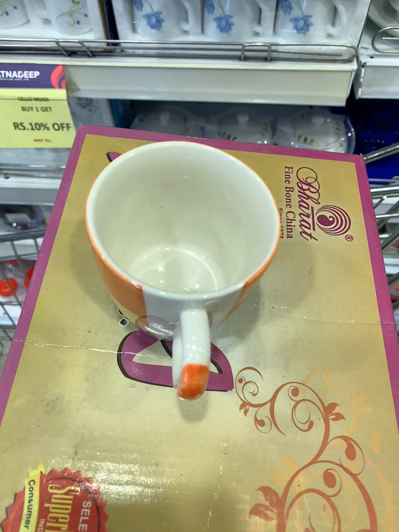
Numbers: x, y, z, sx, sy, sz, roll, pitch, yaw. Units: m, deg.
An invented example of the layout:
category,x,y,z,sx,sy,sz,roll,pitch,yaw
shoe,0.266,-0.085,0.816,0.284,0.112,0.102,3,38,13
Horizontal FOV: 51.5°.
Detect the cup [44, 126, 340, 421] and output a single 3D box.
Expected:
category,x,y,z,sx,sy,sz,roll,pitch,yaw
cup,-0.008,0.004,0.164,0.080,0.070,0.090,-1,59,-8
